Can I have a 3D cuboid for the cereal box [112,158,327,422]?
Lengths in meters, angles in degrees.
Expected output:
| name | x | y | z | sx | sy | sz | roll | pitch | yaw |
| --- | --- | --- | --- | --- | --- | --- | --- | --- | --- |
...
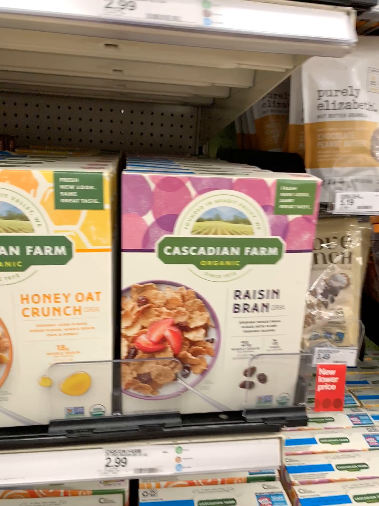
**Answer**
| name | x | y | z | sx | sy | sz | roll | pitch | yaw |
| --- | --- | --- | --- | --- | --- | --- | --- | --- | --- |
| cereal box | 0.020 | 0.044 | 0.420 | 0.200 | 0.269 | 0.050 | 1 | 17 | -10 |
